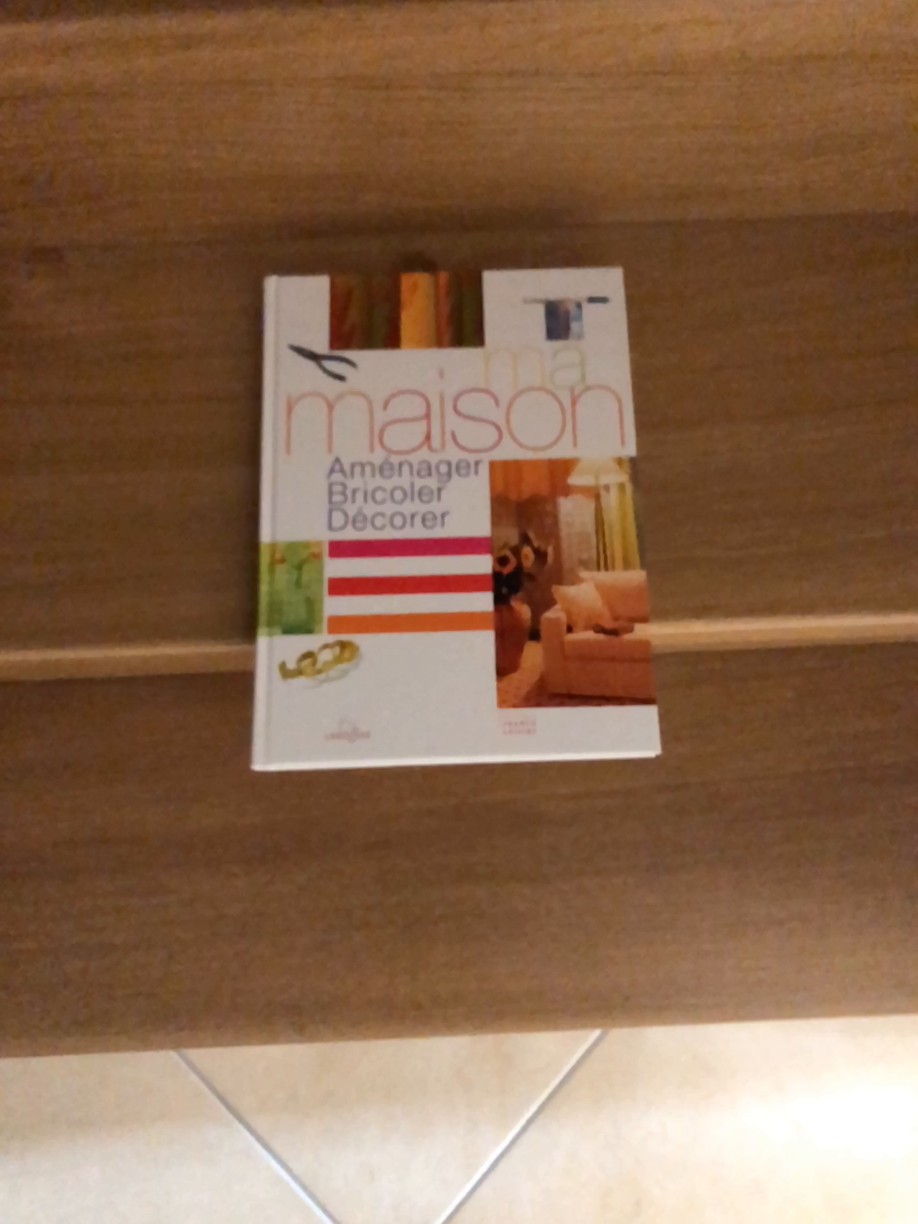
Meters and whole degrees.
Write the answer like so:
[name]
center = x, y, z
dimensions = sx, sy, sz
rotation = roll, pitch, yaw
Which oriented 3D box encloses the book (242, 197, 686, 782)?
[book]
center = -0.003, -0.072, 0.537
dimensions = 0.210, 0.030, 0.310
rotation = -2, 75, 0
